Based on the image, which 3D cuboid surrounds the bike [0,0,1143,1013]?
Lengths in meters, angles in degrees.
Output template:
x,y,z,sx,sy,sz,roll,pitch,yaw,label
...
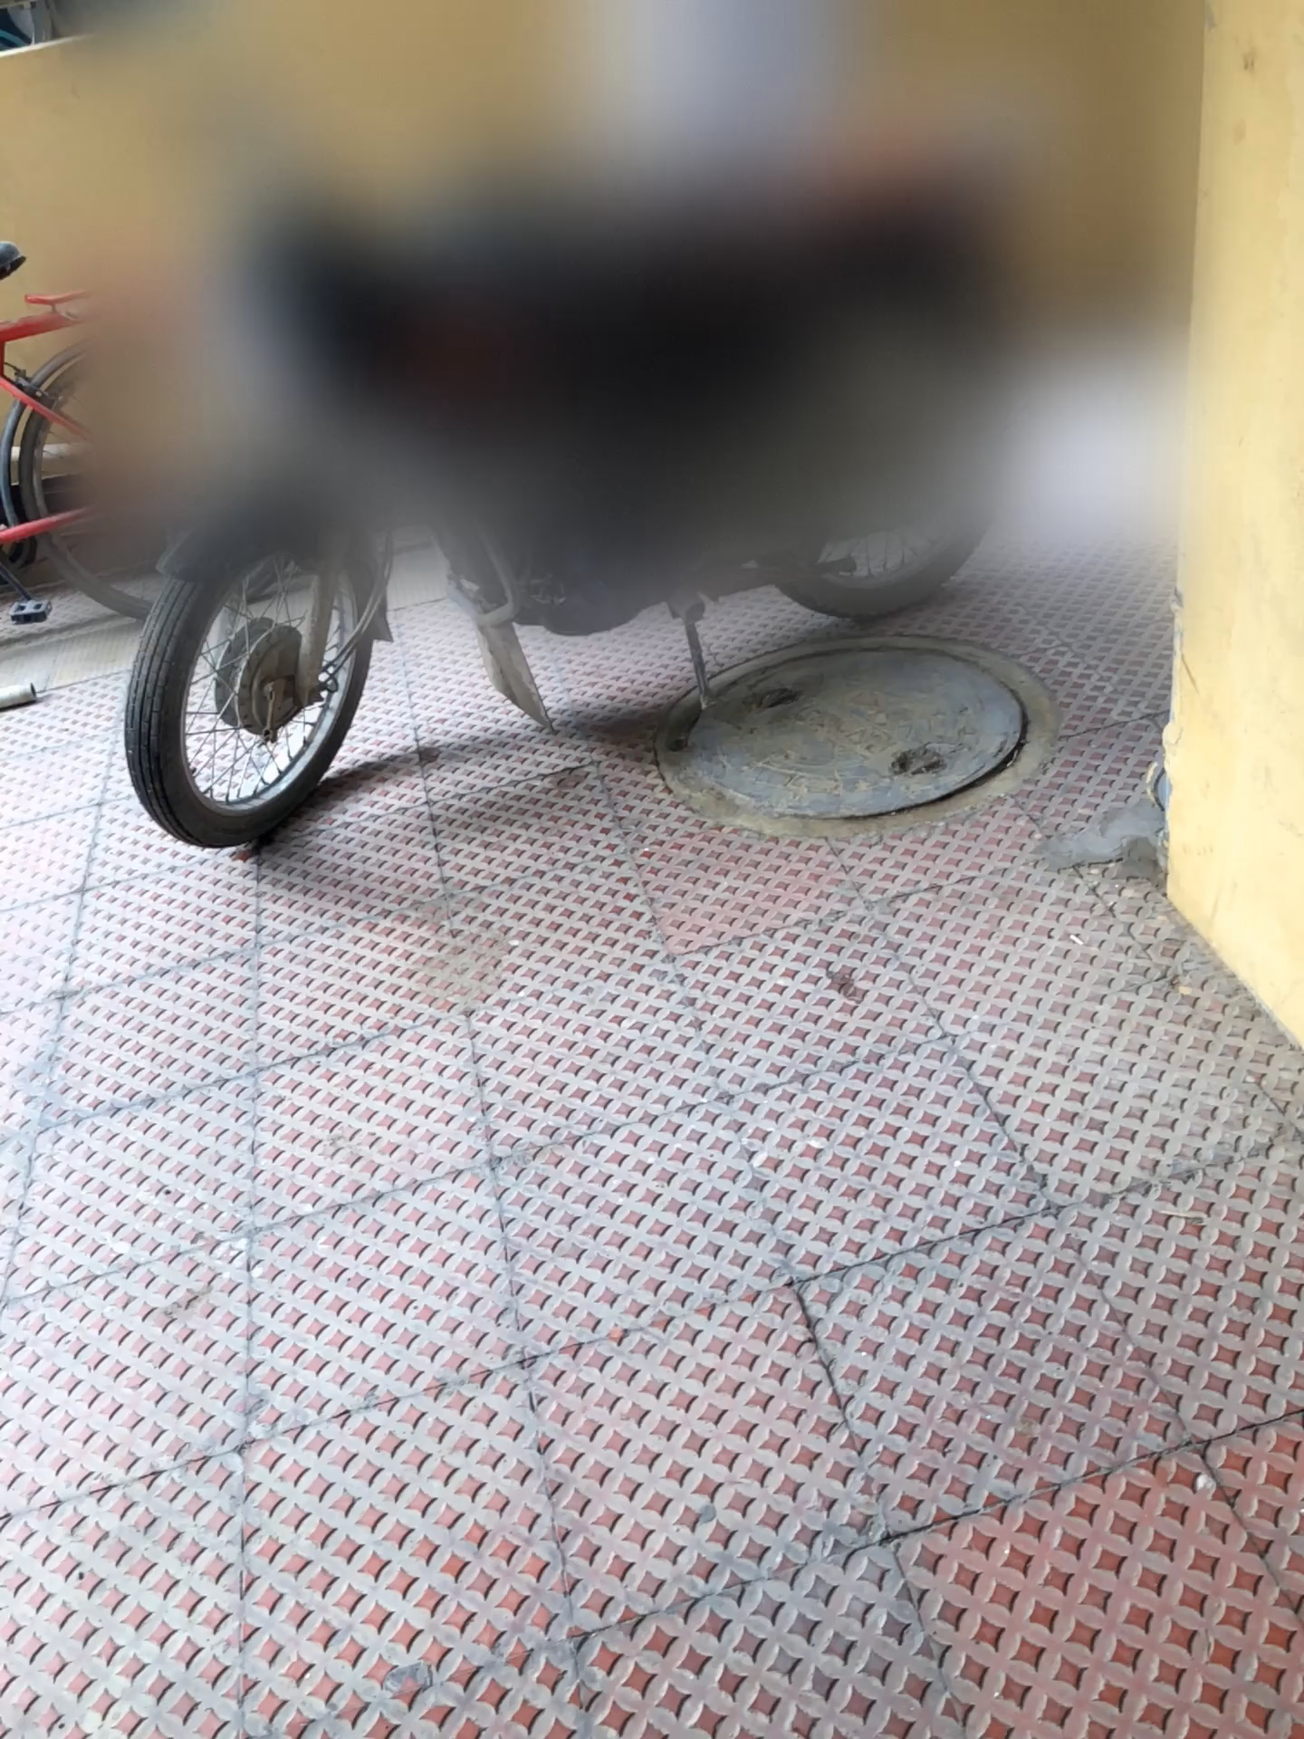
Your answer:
x,y,z,sx,sy,sz,roll,pitch,yaw,label
-0.122,-0.706,2.263,1.600,0.974,0.762,-26,37,-18,bike
